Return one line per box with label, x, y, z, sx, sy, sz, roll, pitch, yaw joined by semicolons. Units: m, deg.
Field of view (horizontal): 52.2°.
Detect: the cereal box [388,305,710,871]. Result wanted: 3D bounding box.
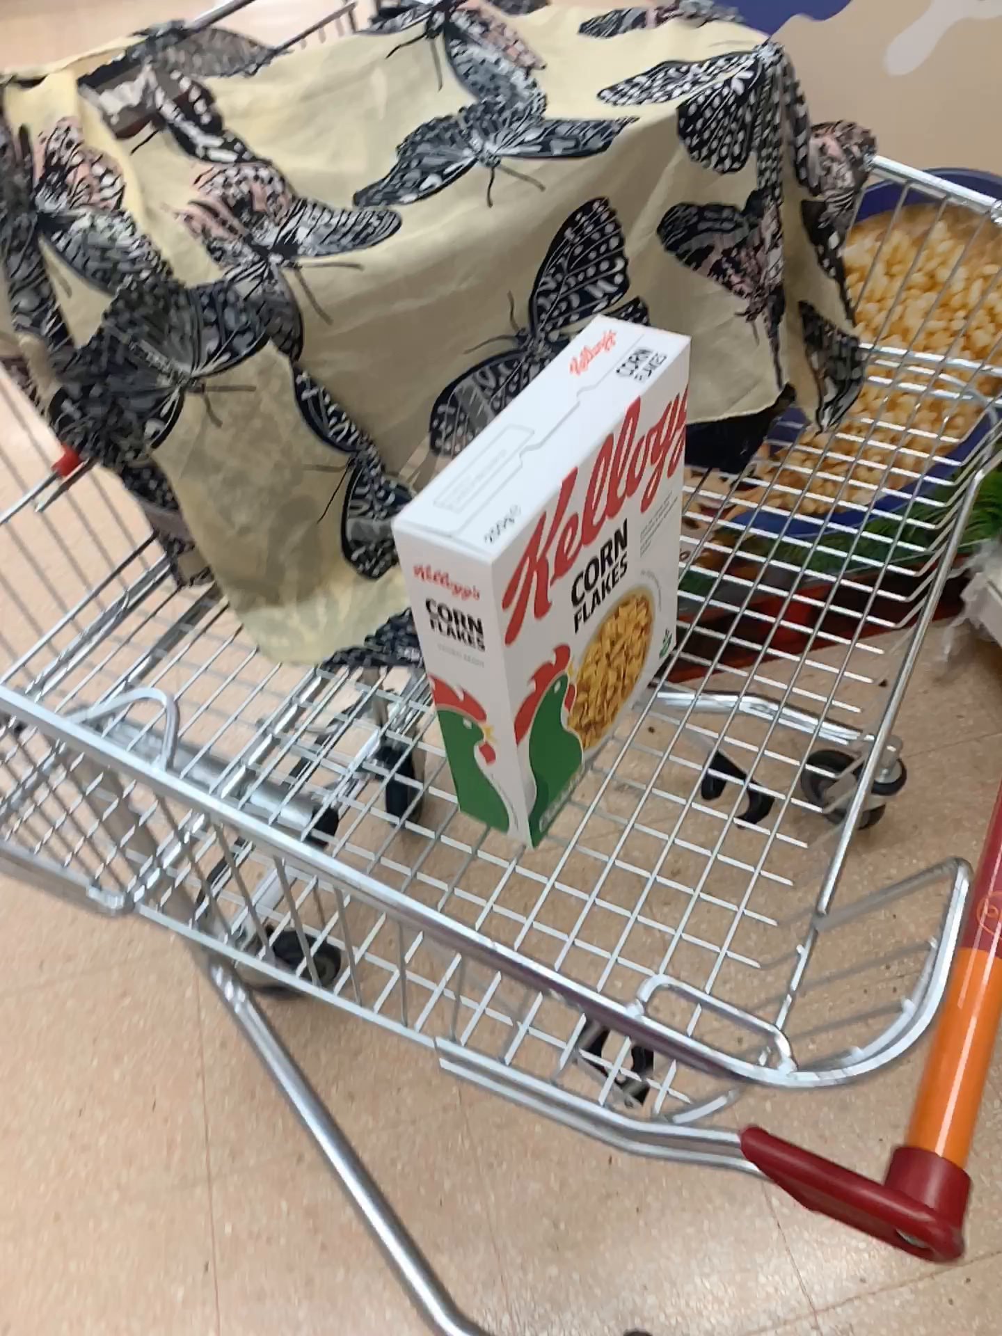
cereal box;0.037;-0.039;0.571;0.060;0.238;0.201;22;54;23
